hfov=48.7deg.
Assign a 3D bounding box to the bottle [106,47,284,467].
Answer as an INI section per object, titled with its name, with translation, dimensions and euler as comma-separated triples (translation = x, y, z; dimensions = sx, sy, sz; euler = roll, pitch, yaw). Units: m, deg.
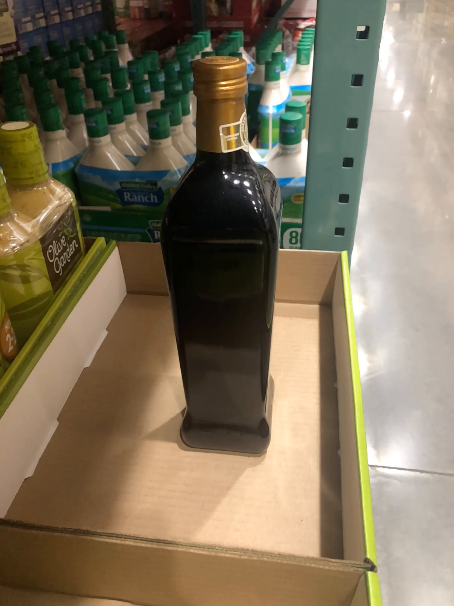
[bottle]
translation = -0.009, -0.015, 0.377
dimensions = 0.090, 0.305, 0.090
euler = -1, 35, 1
